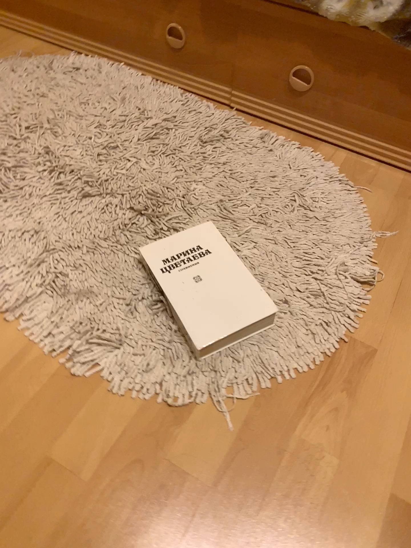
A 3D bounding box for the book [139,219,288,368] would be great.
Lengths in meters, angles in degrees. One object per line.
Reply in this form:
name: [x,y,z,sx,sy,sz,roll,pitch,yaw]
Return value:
book: [0.006,0.019,0.641,0.140,0.040,0.209,-21,56,-19]
